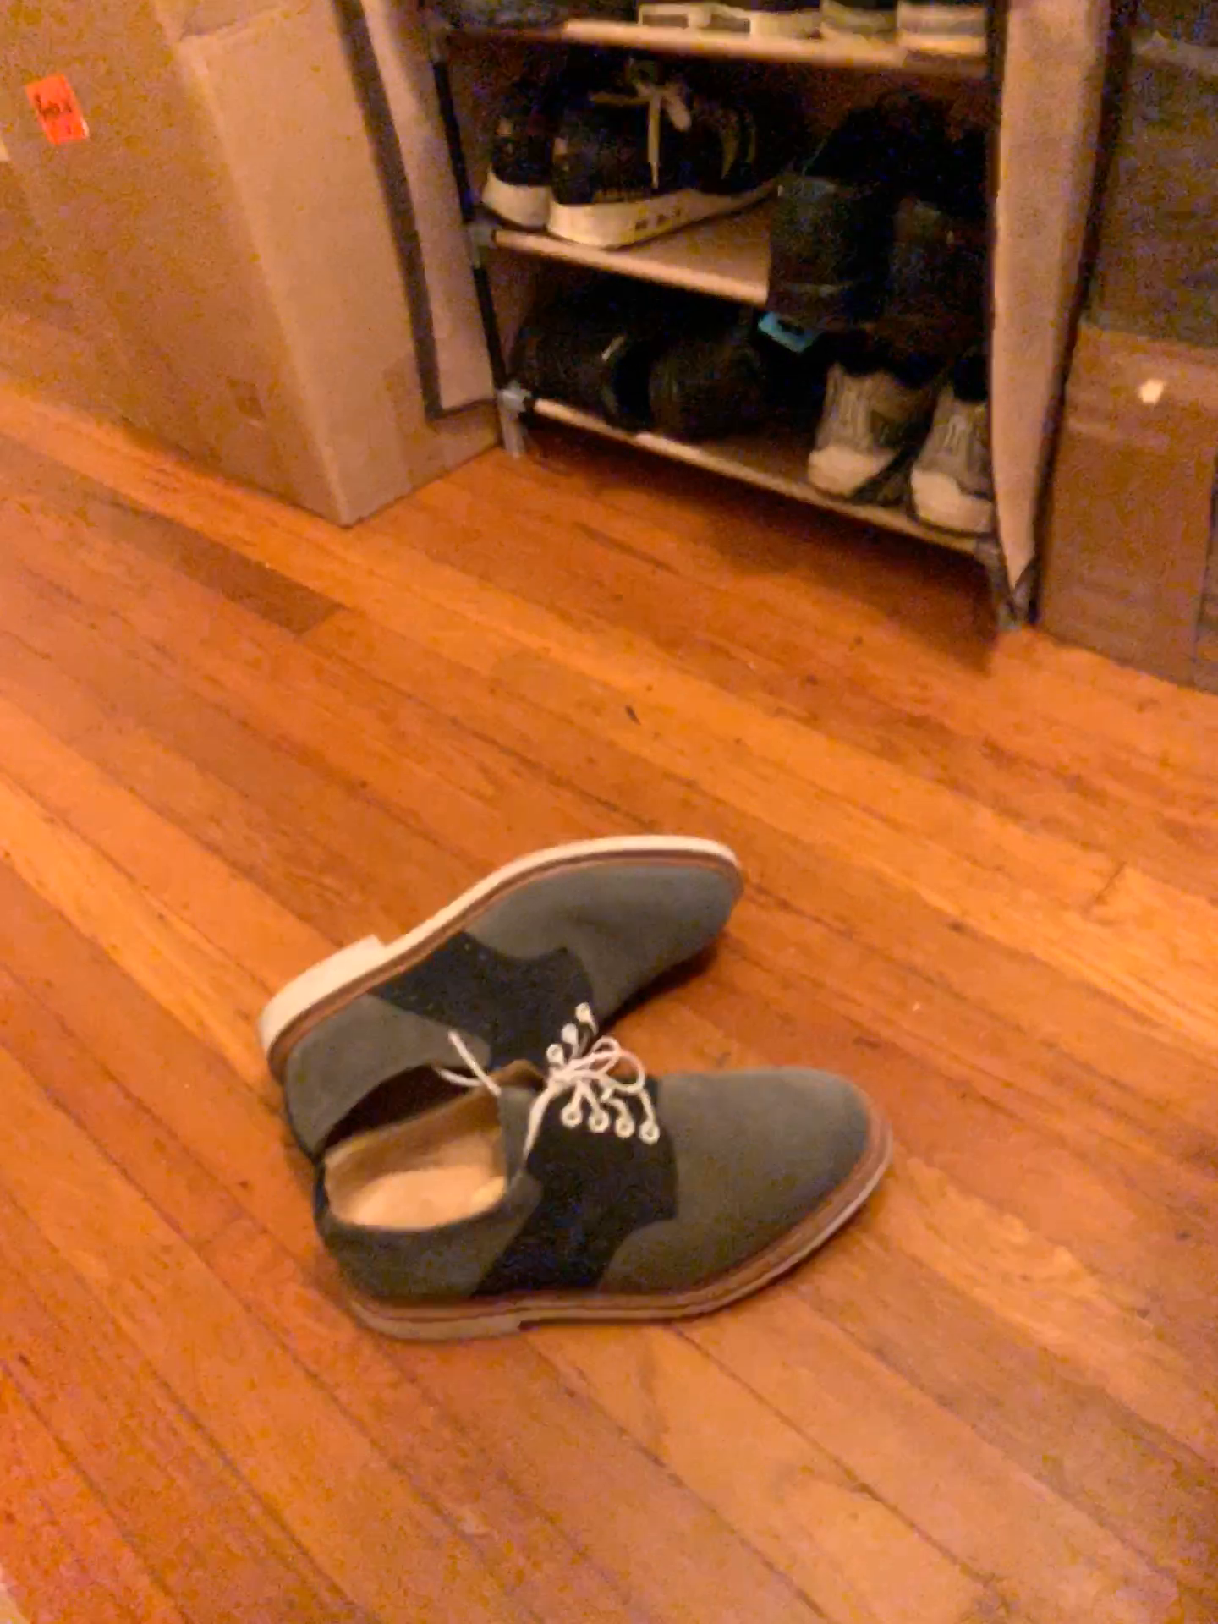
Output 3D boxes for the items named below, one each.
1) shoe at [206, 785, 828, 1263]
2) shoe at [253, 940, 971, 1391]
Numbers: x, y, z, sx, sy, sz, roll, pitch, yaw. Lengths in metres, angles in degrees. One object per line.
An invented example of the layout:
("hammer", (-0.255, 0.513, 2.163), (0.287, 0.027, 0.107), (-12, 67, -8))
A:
("shoe", (-0.046, 0.116, 0.697), (0.310, 0.129, 0.121), (-18, 47, -9))
("shoe", (-0.001, 0.172, 0.606), (0.310, 0.099, 0.131), (-10, 44, 0))
